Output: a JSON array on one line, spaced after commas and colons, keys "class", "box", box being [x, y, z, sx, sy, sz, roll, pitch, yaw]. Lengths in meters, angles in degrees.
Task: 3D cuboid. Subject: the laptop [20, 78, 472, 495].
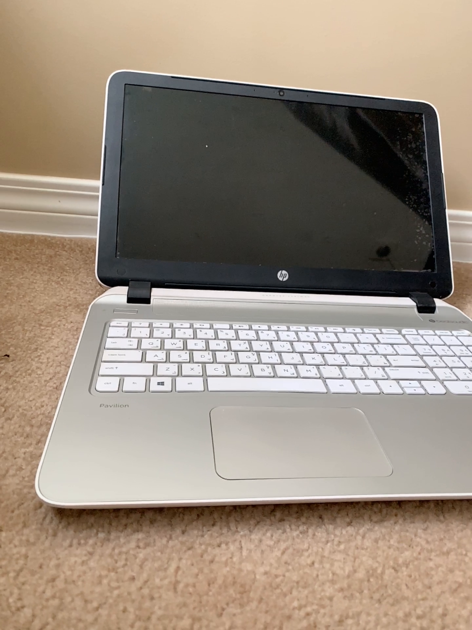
[{"class": "laptop", "box": [0.065, -0.065, 0.392, 0.349, 0.187, 0.351, 1, 28, -8]}]
